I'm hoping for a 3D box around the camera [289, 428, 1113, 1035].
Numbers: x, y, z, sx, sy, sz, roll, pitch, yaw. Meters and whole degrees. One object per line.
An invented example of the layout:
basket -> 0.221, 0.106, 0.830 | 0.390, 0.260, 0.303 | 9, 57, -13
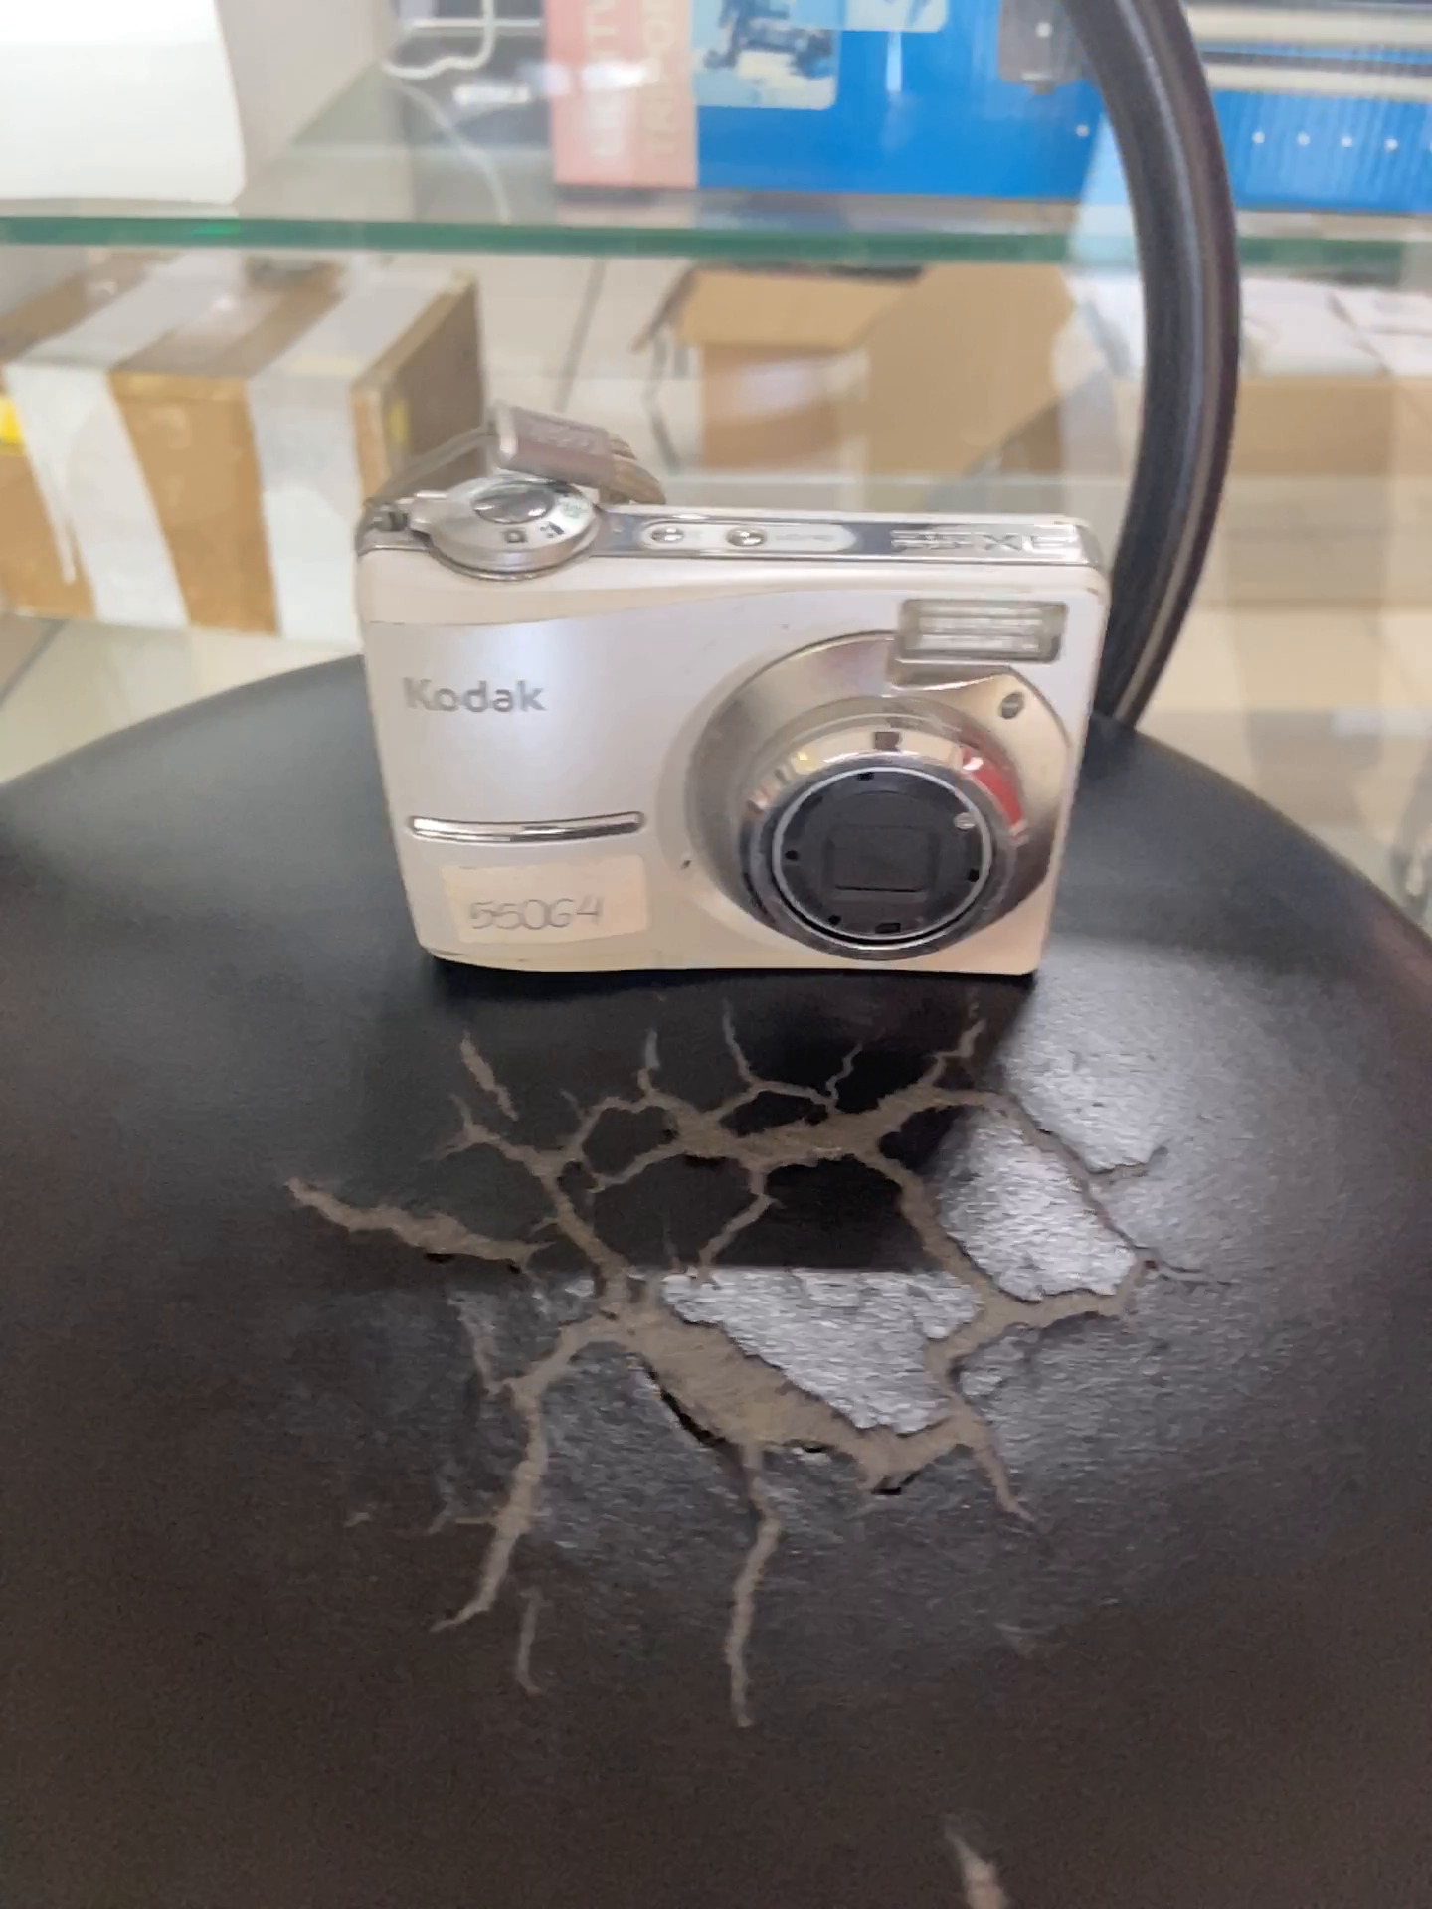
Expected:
camera -> -0.001, -0.029, 0.202 | 0.090, 0.070, 0.040 | 0, 40, 0
